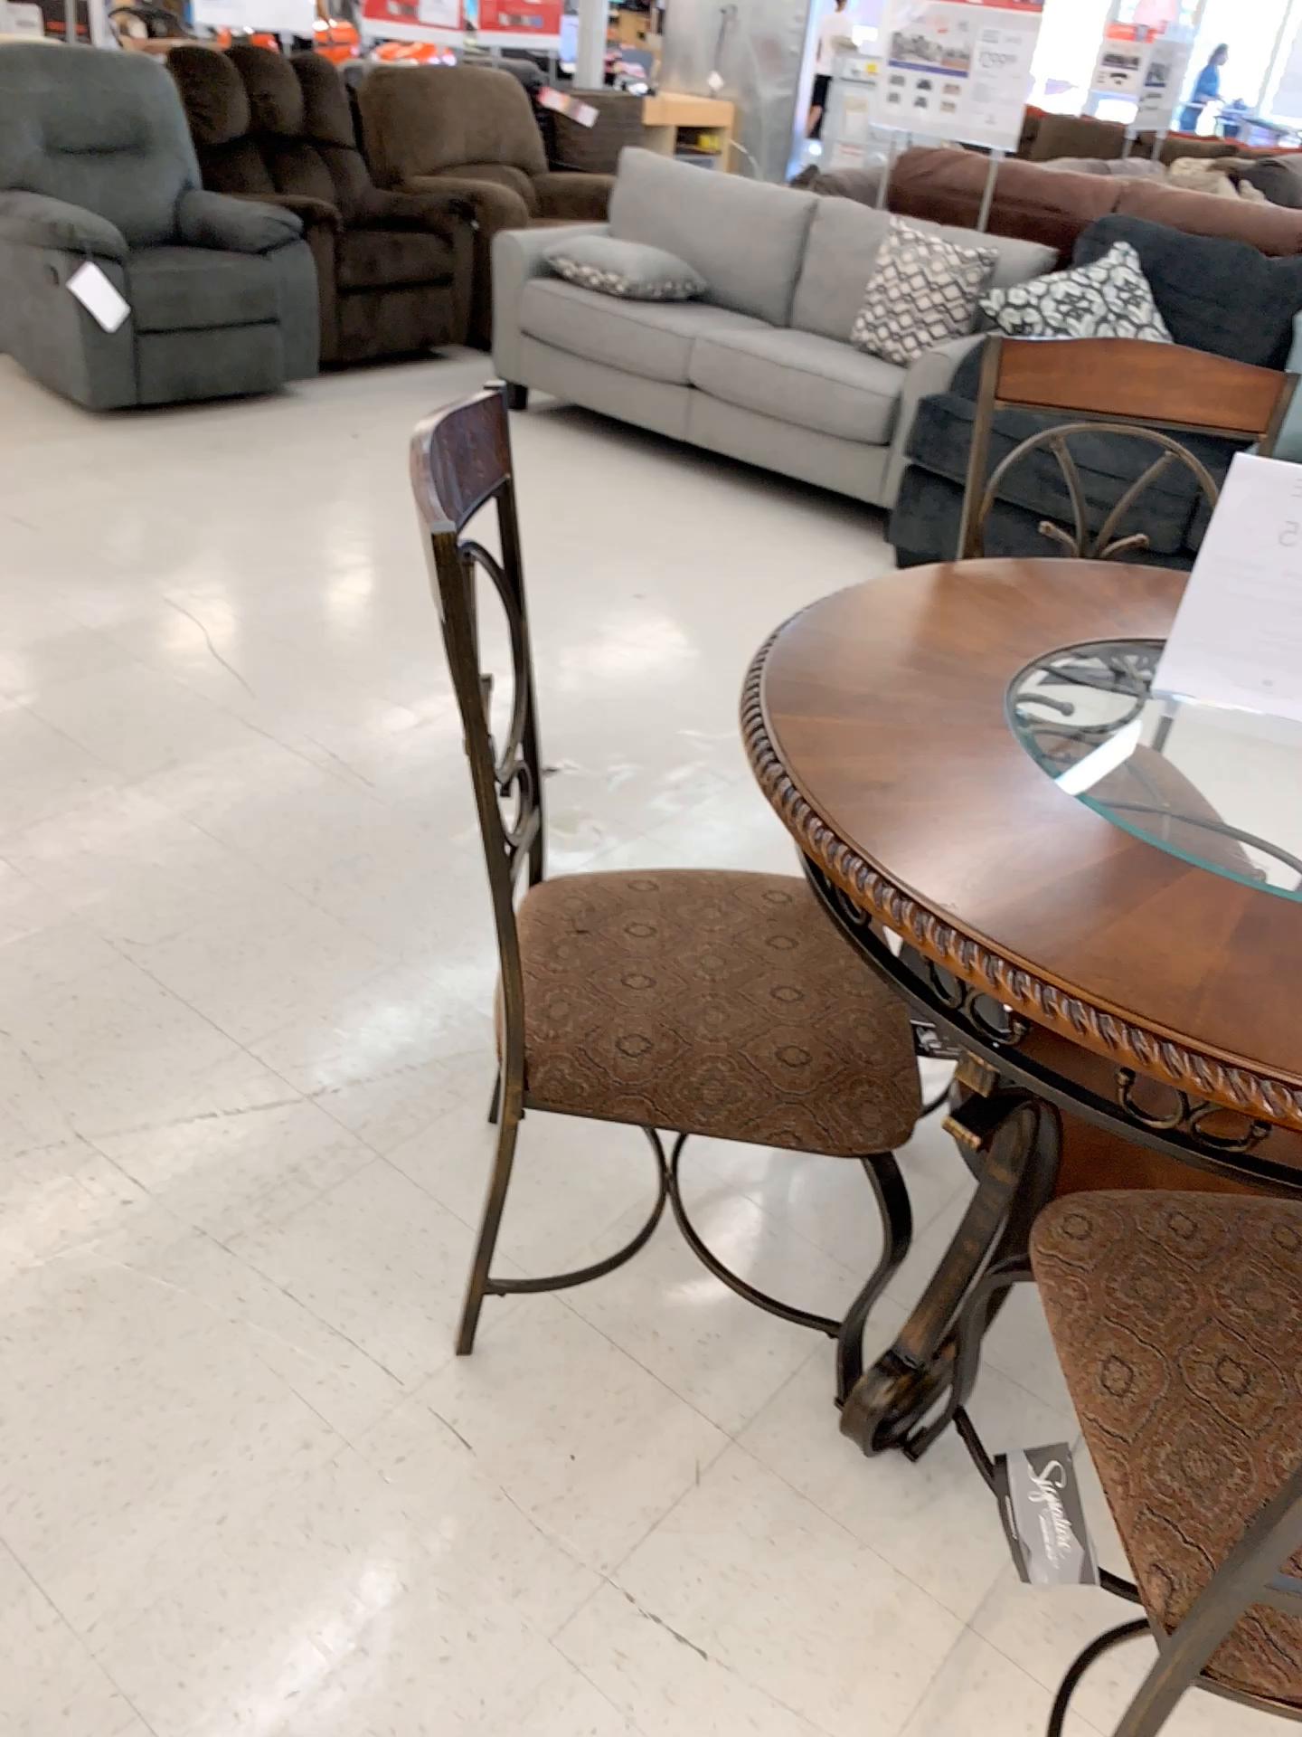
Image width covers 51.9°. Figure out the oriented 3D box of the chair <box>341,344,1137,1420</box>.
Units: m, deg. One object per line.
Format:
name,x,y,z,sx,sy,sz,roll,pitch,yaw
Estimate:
chair,0.022,0.036,1.449,0.580,0.975,0.523,7,33,-1
